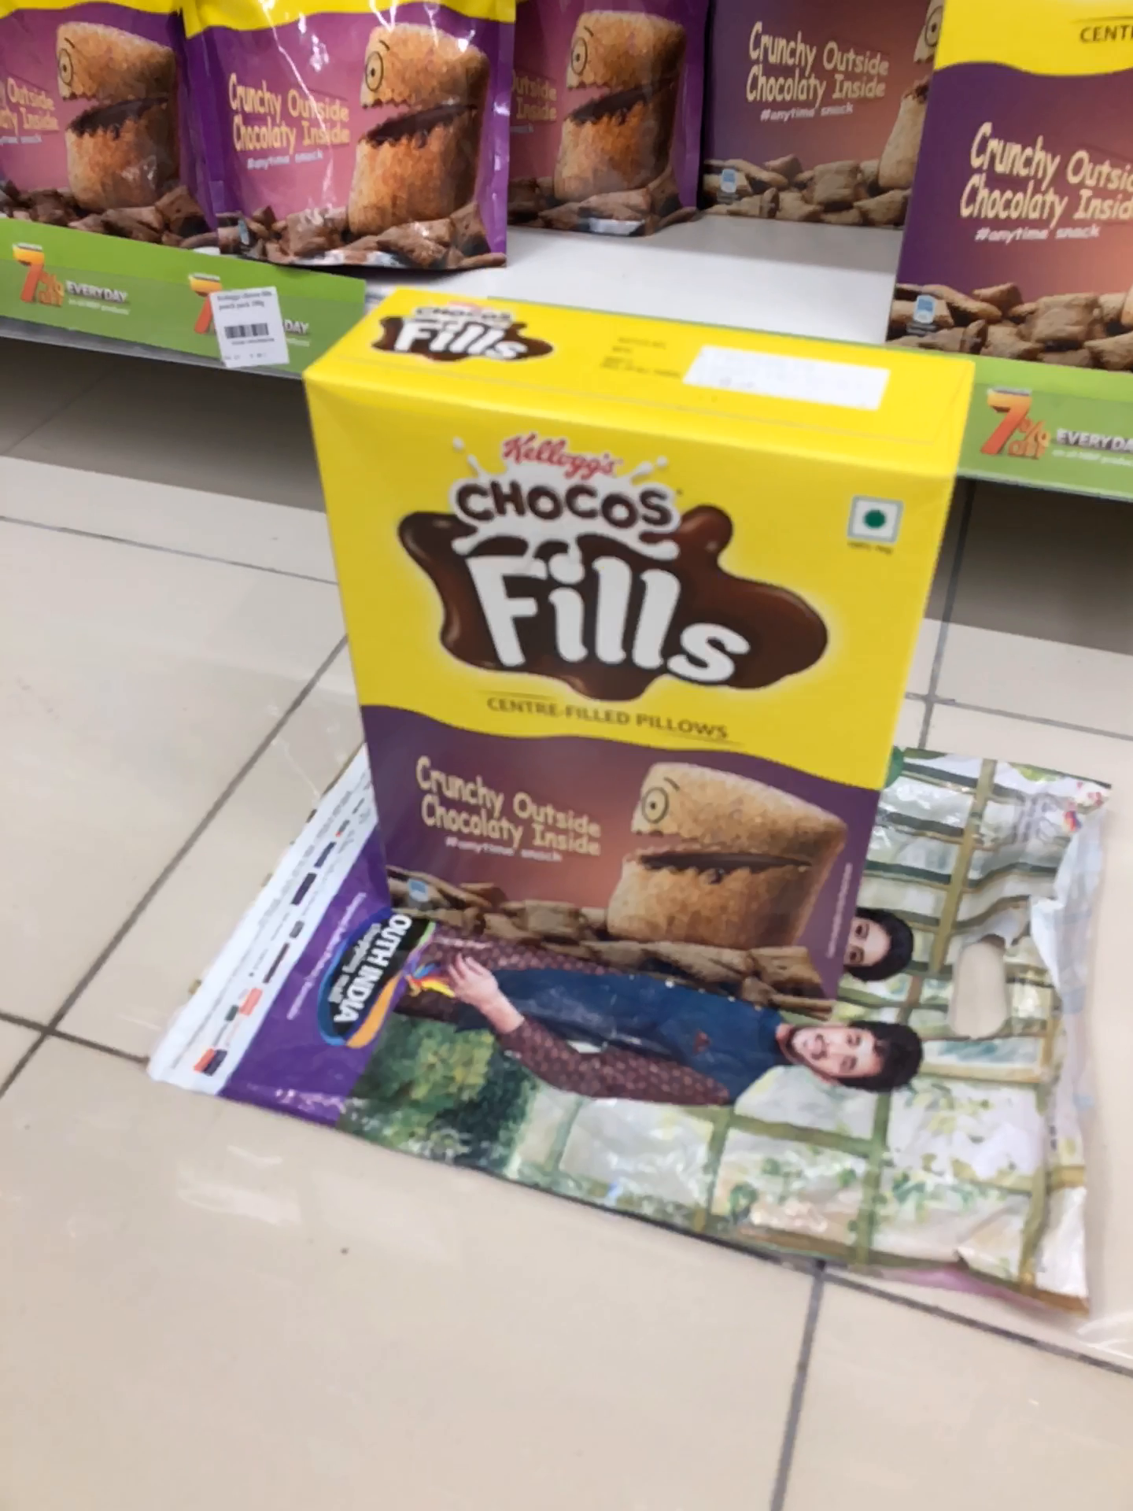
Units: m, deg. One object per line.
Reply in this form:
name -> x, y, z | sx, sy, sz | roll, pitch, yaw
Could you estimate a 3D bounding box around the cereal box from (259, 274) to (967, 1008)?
cereal box -> 0.016, -0.031, 0.430 | 0.190, 0.228, 0.071 | 11, 44, 13
